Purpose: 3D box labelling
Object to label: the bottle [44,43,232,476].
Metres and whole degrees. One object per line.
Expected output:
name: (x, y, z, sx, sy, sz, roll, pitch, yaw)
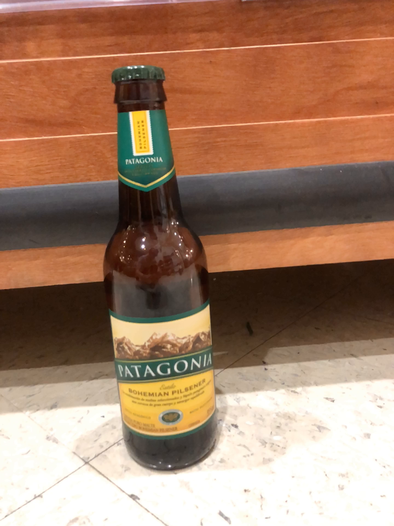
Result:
bottle: (-0.024, 0.004, 0.246, 0.070, 0.219, 0.060, -4, 16, -1)
